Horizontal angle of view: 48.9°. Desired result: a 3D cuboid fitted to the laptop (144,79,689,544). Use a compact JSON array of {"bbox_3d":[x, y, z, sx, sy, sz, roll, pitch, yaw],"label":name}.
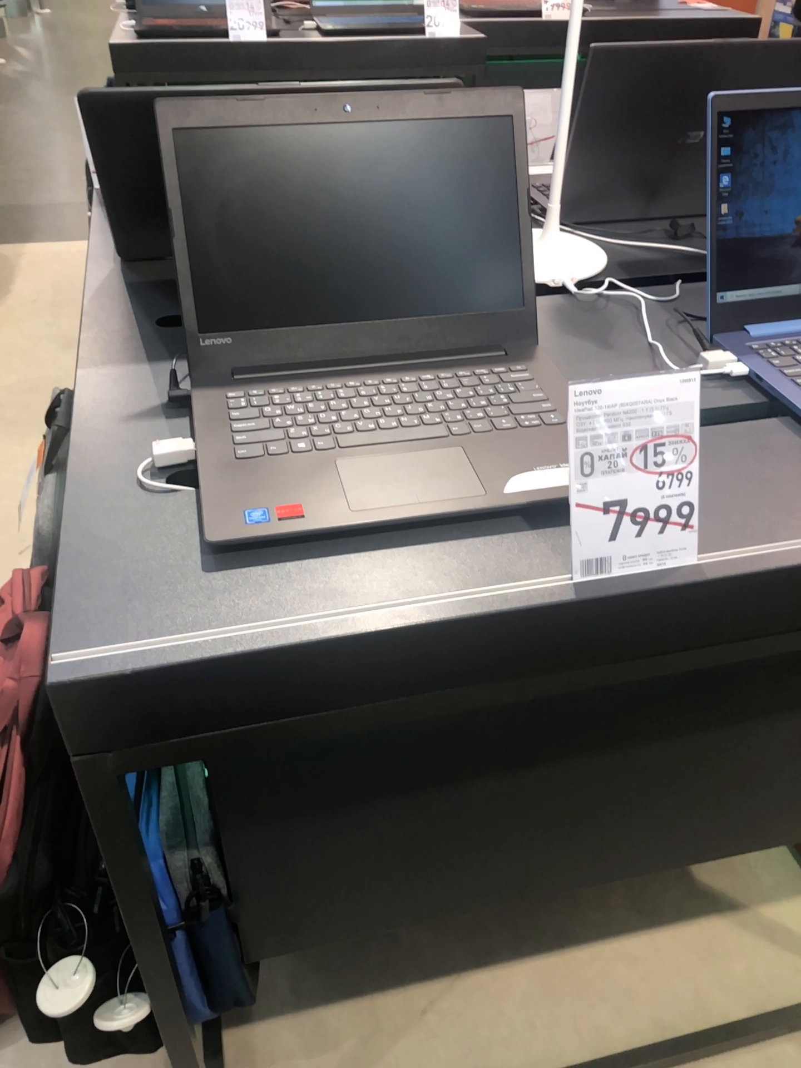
[{"bbox_3d":[-0.020,-0.211,0.724,0.330,0.205,0.363,-8,40,-11],"label":"laptop"}]
